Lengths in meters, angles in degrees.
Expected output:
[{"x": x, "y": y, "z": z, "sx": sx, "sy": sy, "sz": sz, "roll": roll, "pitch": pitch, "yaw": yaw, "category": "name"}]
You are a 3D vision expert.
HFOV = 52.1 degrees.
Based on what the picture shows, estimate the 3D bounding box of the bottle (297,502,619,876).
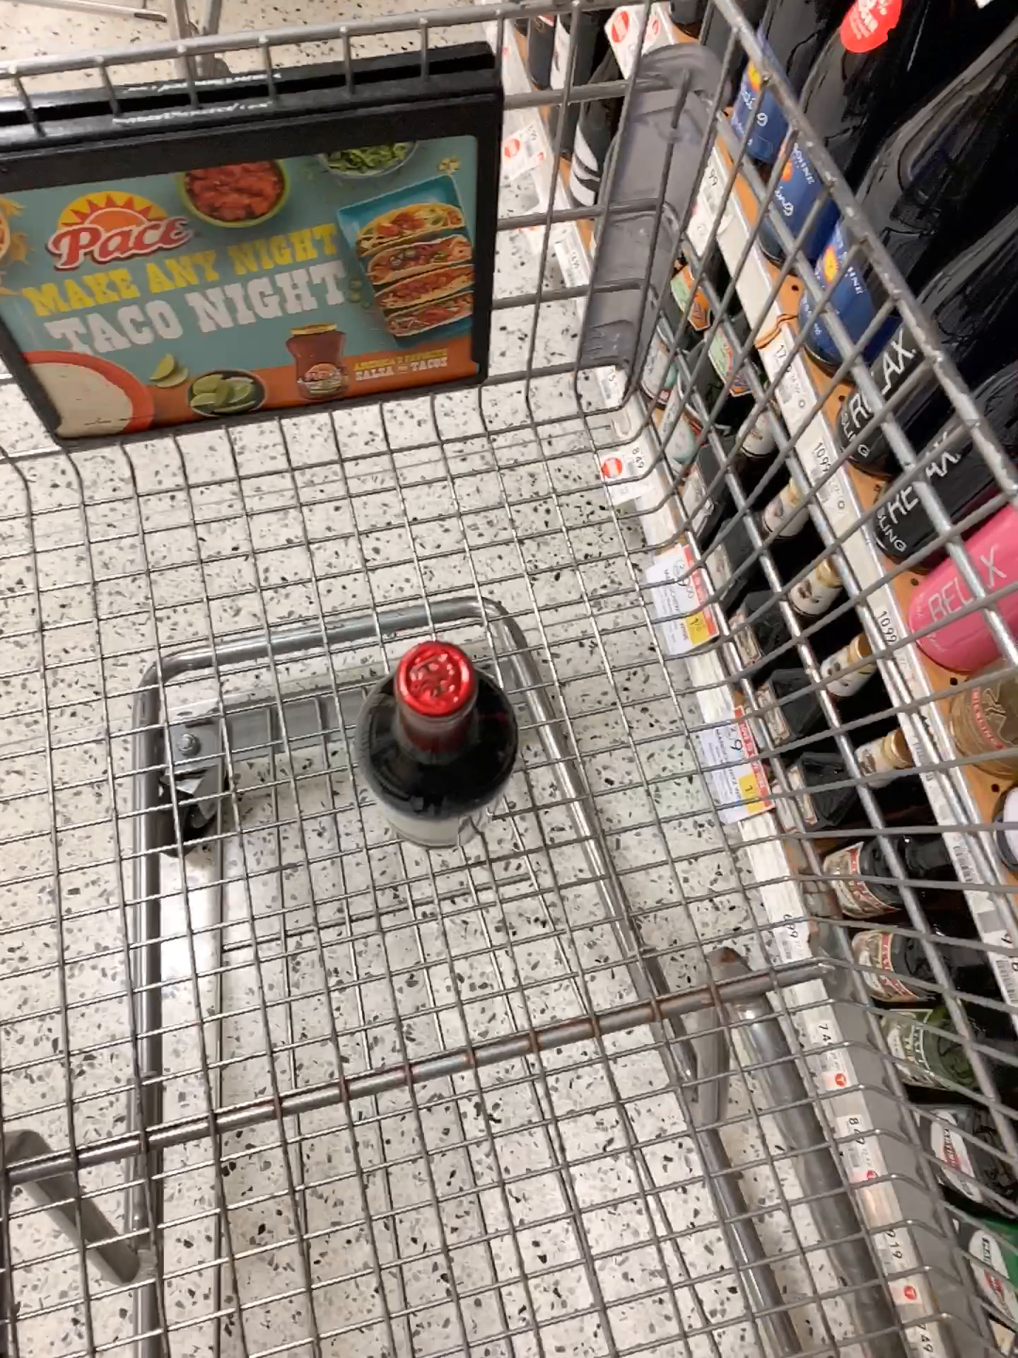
[{"x": -0.029, "y": 0.028, "z": 0.493, "sx": 0.080, "sy": 0.299, "sz": 0.090, "roll": -21, "pitch": 79, "yaw": -9, "category": "bottle"}]
